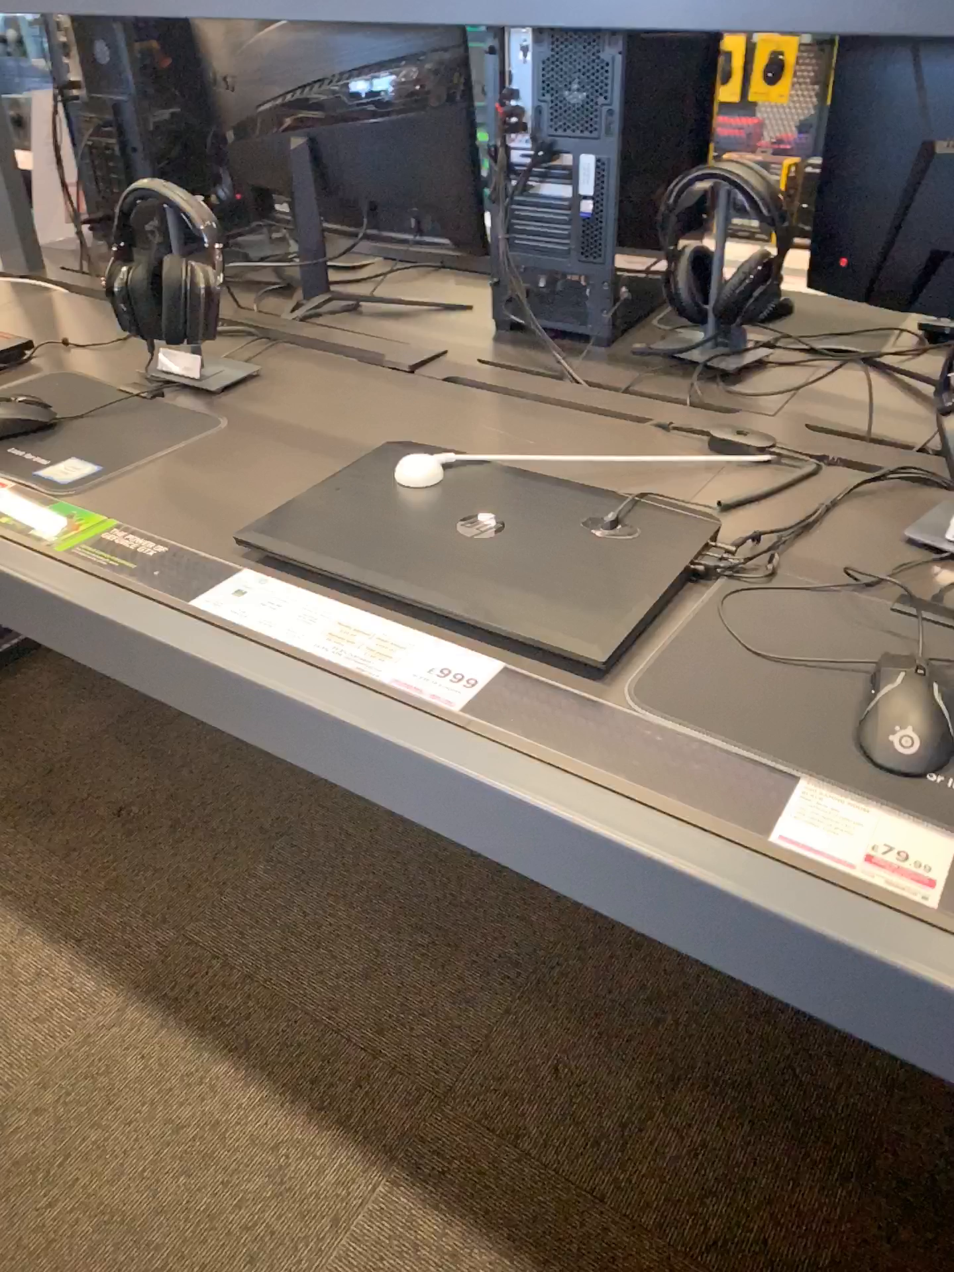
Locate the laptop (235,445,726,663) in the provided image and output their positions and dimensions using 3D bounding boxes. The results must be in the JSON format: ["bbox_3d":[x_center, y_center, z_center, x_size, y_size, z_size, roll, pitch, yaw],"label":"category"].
[{"bbox_3d":[0.003,-0.098,0.936,0.395,0.001,0.257,18,40,27],"label":"laptop"}]
